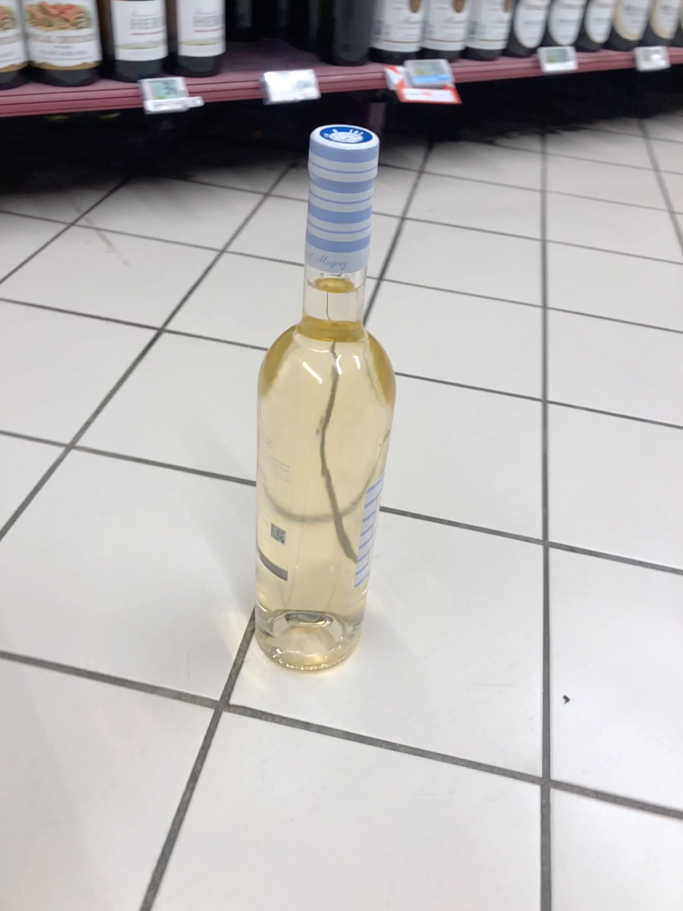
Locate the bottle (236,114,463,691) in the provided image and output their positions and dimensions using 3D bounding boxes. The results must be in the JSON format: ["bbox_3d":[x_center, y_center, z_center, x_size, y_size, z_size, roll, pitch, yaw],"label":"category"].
[{"bbox_3d":[-0.014,-0.001,0.394,0.080,0.308,0.080,4,39,-3],"label":"bottle"}]
